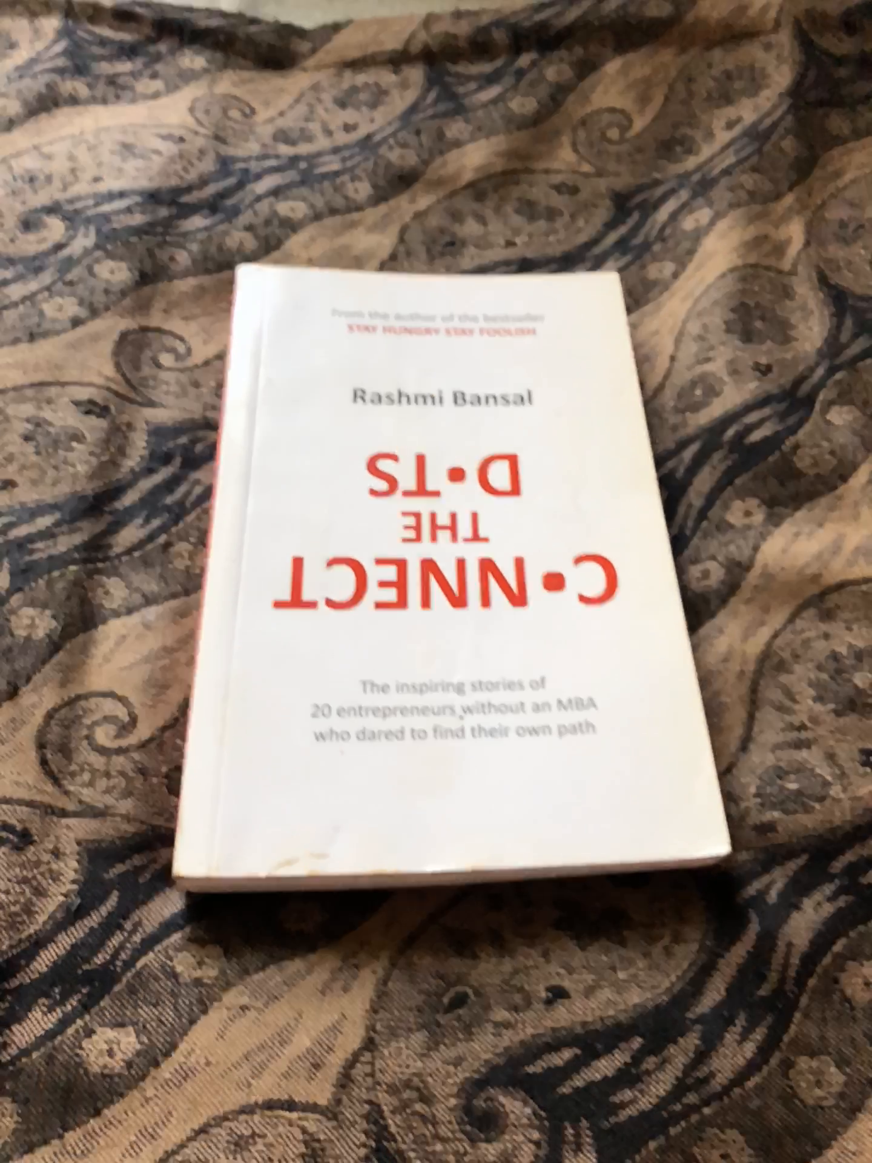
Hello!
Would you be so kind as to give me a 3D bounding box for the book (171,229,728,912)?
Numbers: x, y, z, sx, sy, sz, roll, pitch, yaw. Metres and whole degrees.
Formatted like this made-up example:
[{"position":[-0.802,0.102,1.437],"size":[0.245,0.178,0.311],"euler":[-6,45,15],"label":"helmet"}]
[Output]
[{"position":[0.000,-0.018,0.304],"size":[0.130,0.040,0.221],"euler":[-2,58,-1],"label":"book"}]
